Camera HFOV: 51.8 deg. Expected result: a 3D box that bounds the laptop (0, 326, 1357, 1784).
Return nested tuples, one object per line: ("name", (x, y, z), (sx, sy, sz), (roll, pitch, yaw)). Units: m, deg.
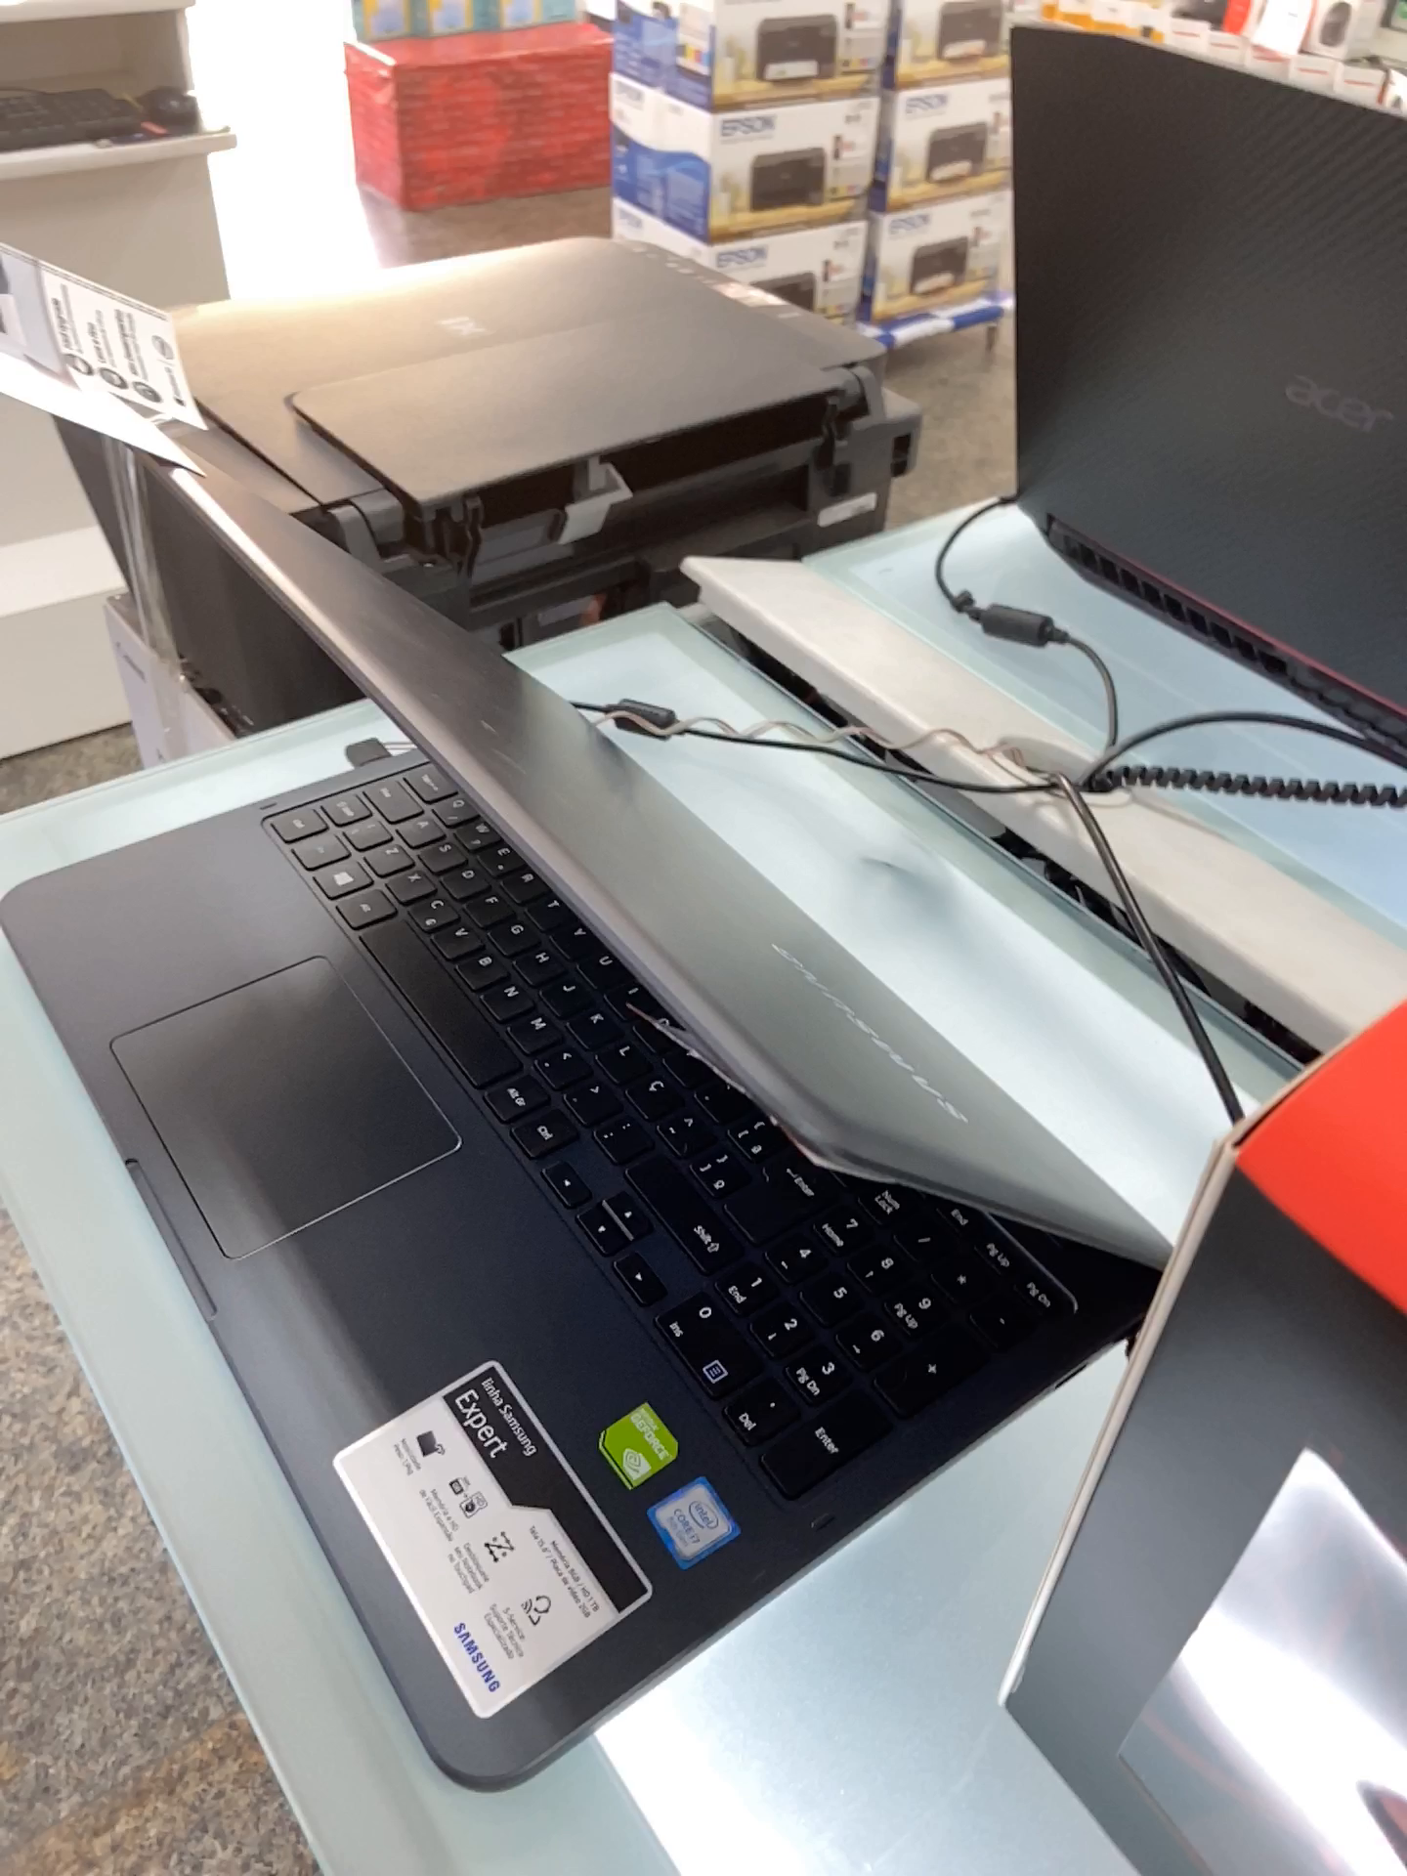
("laptop", (-0.060, -0.020, 0.439), (0.237, 0.170, 0.373), (-24, 48, -26))
